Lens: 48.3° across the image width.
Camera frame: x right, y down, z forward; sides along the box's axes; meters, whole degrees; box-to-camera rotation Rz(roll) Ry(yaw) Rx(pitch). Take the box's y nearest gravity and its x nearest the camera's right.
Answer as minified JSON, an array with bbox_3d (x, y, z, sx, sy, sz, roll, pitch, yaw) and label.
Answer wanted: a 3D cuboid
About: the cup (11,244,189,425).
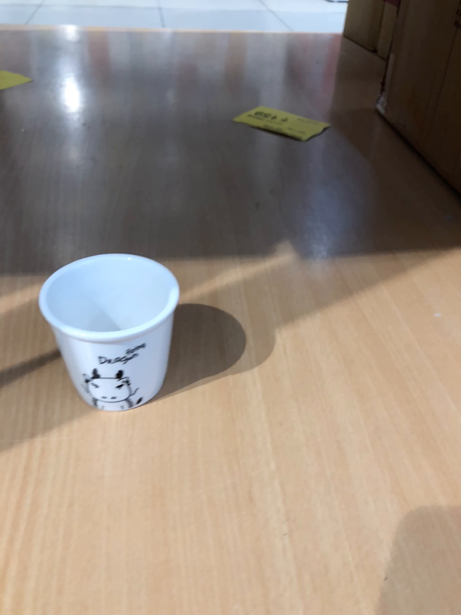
[{"bbox_3d":[-0.064,0.012,0.285,0.080,0.060,0.080,2,38,-2],"label":"cup"}]
